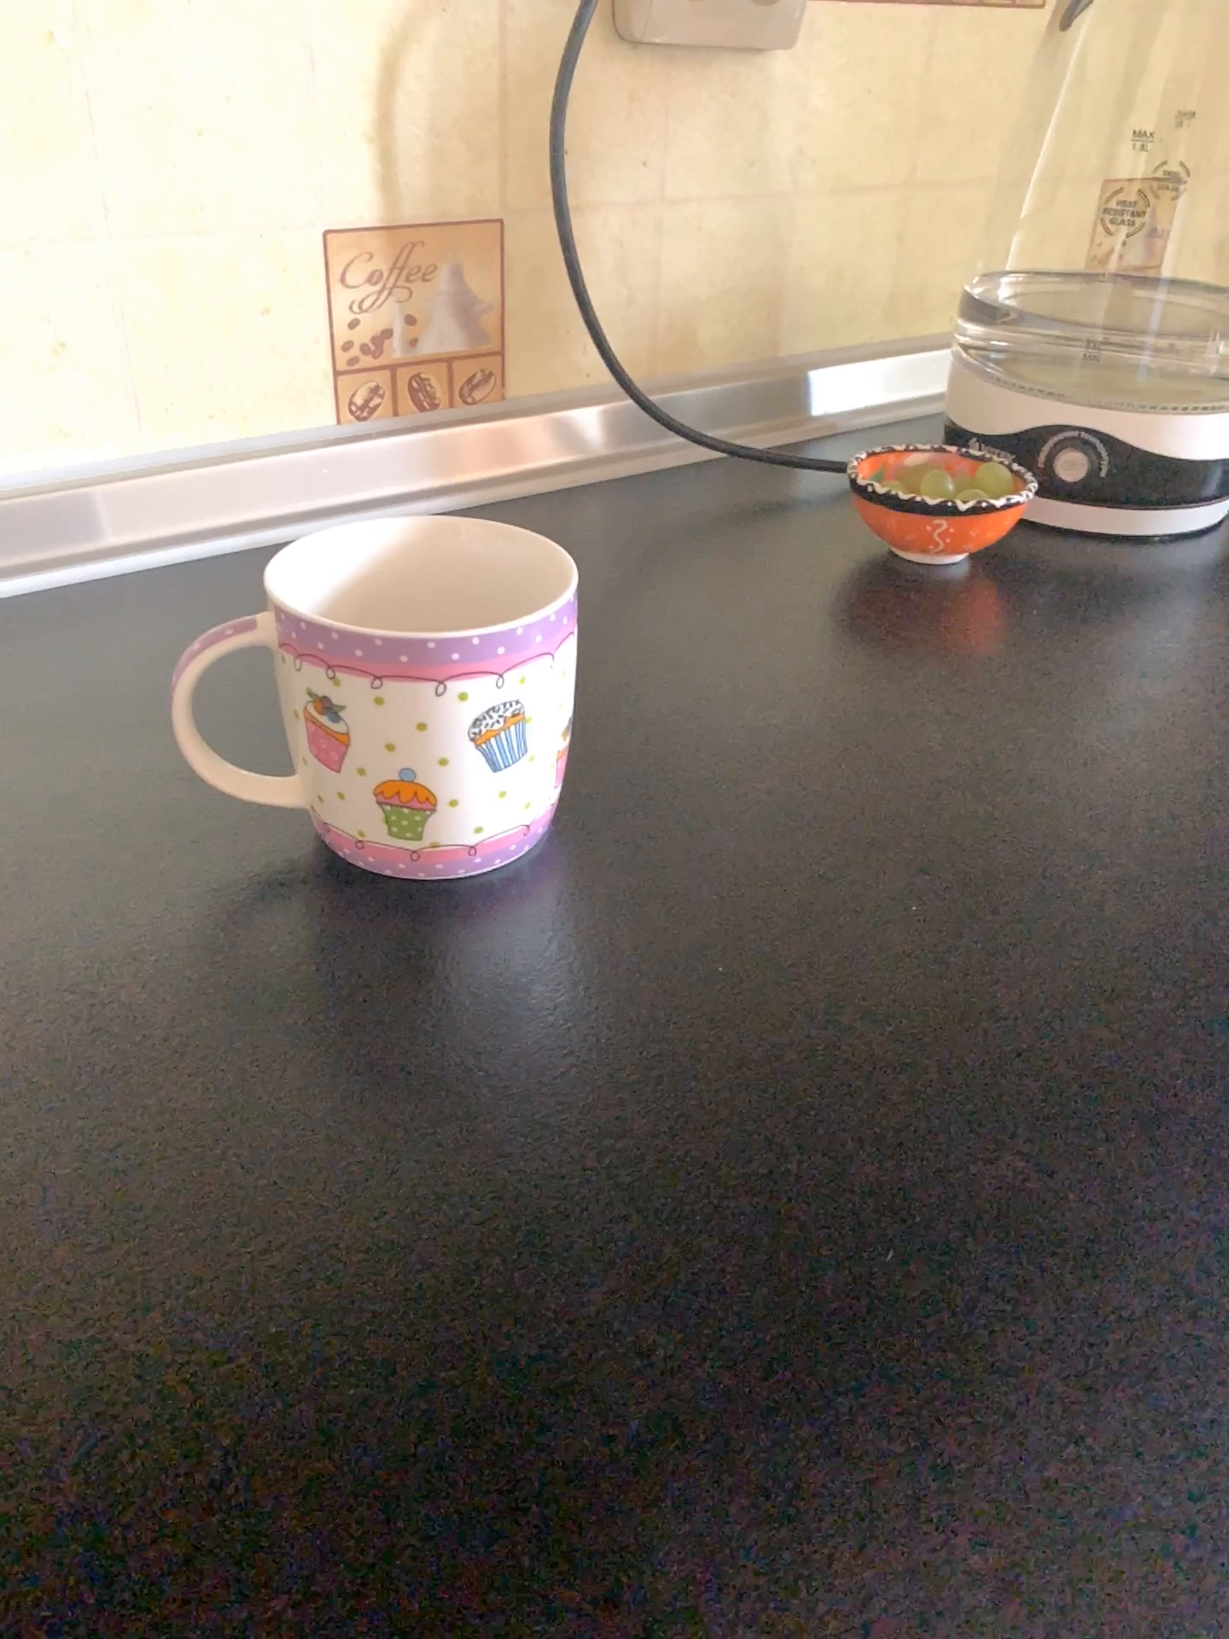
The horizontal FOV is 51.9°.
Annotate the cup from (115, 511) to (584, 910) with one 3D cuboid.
[{"bbox_3d":[-0.070,-0.034,0.356,0.110,0.080,0.080,-3,33,-9],"label":"cup"}]
